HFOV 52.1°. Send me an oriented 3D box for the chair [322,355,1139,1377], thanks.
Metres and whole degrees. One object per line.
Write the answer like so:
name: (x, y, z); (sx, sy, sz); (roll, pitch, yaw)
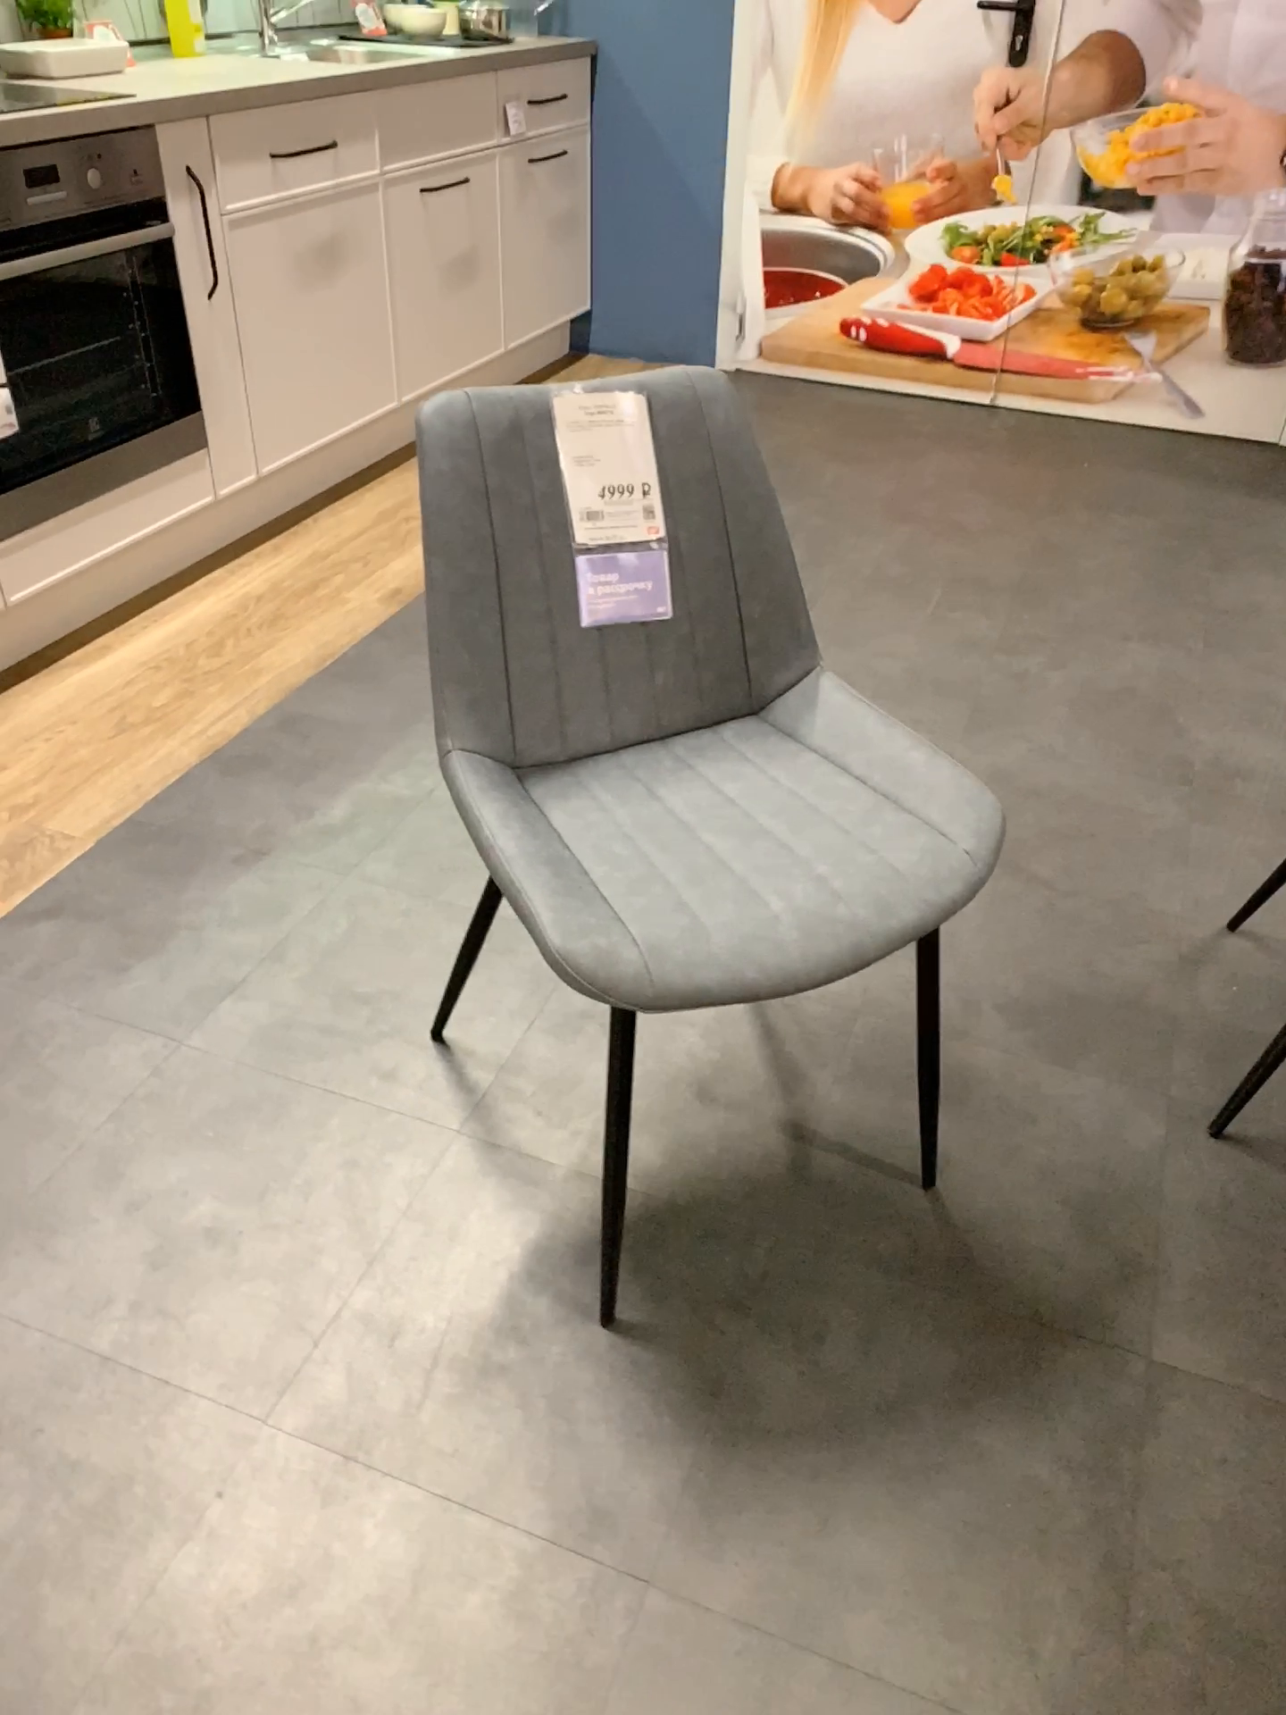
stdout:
chair: (0.034, -0.020, 1.441); (0.523, 0.833, 0.592); (-15, 38, -23)
